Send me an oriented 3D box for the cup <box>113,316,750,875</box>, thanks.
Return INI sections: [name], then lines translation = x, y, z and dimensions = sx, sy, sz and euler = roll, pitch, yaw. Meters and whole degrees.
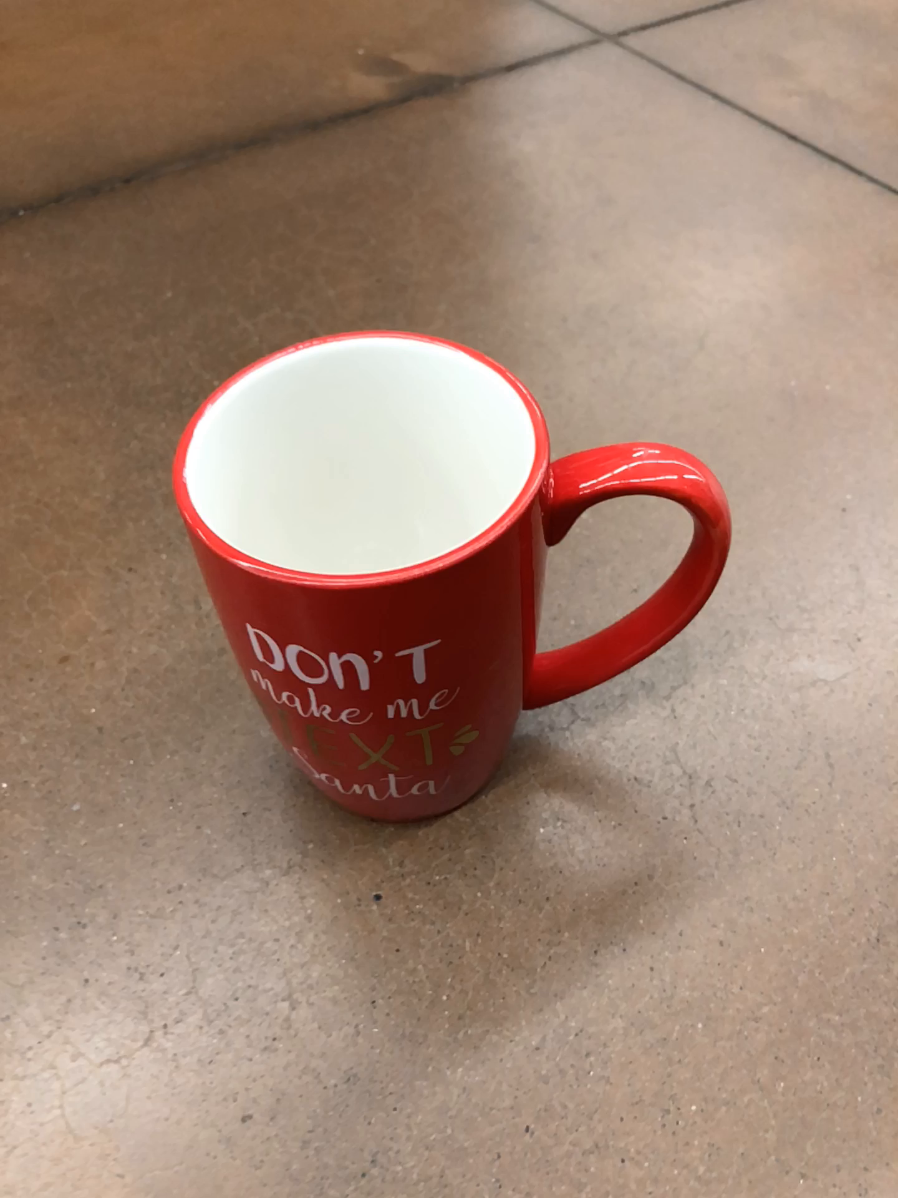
[cup]
translation = 0.001, 0.003, 0.284
dimensions = 0.130, 0.130, 0.090
euler = 2, 49, 5
